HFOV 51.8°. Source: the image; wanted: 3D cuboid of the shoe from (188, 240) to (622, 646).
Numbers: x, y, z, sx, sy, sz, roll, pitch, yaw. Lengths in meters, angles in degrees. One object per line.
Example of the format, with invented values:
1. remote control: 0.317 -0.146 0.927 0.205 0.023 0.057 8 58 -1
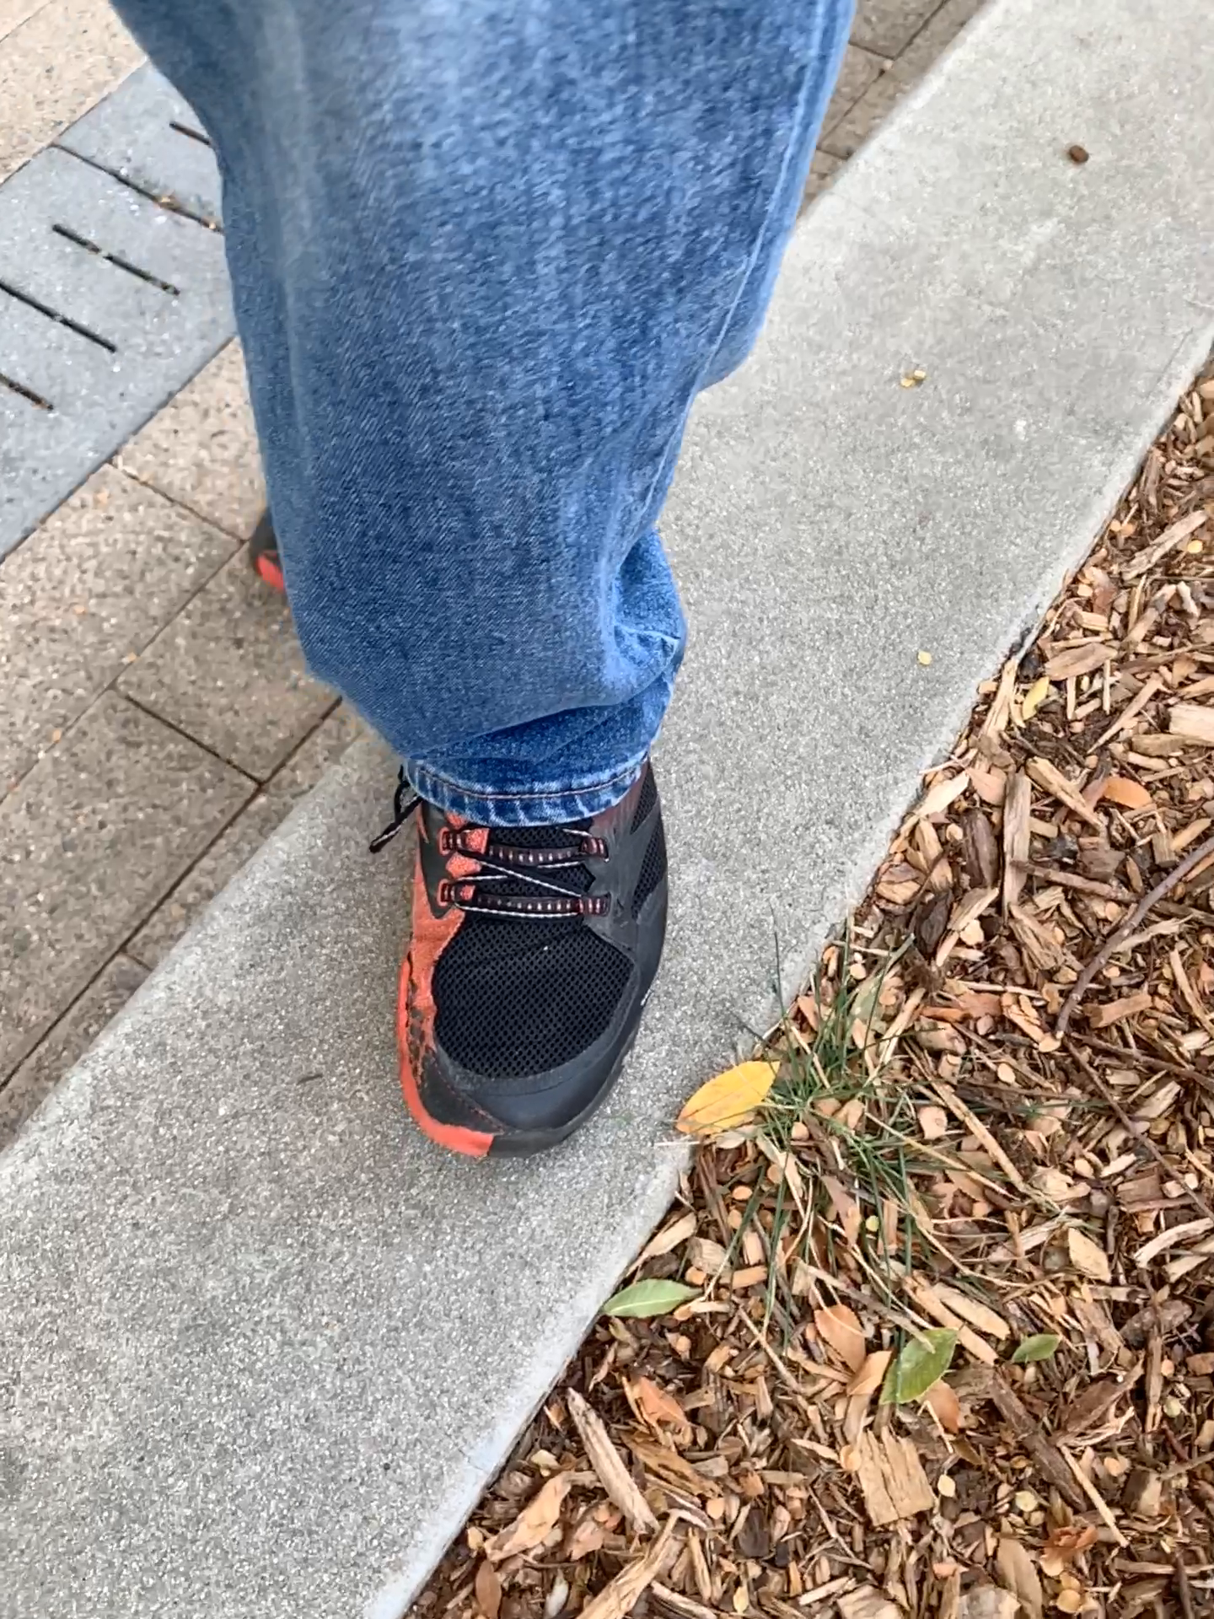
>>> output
1. shoe: -0.142 -0.282 0.943 0.137 0.080 0.306 39 72 18

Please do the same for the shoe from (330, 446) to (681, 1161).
1. shoe: -0.032 -0.012 0.555 0.122 0.080 0.310 1 65 3
